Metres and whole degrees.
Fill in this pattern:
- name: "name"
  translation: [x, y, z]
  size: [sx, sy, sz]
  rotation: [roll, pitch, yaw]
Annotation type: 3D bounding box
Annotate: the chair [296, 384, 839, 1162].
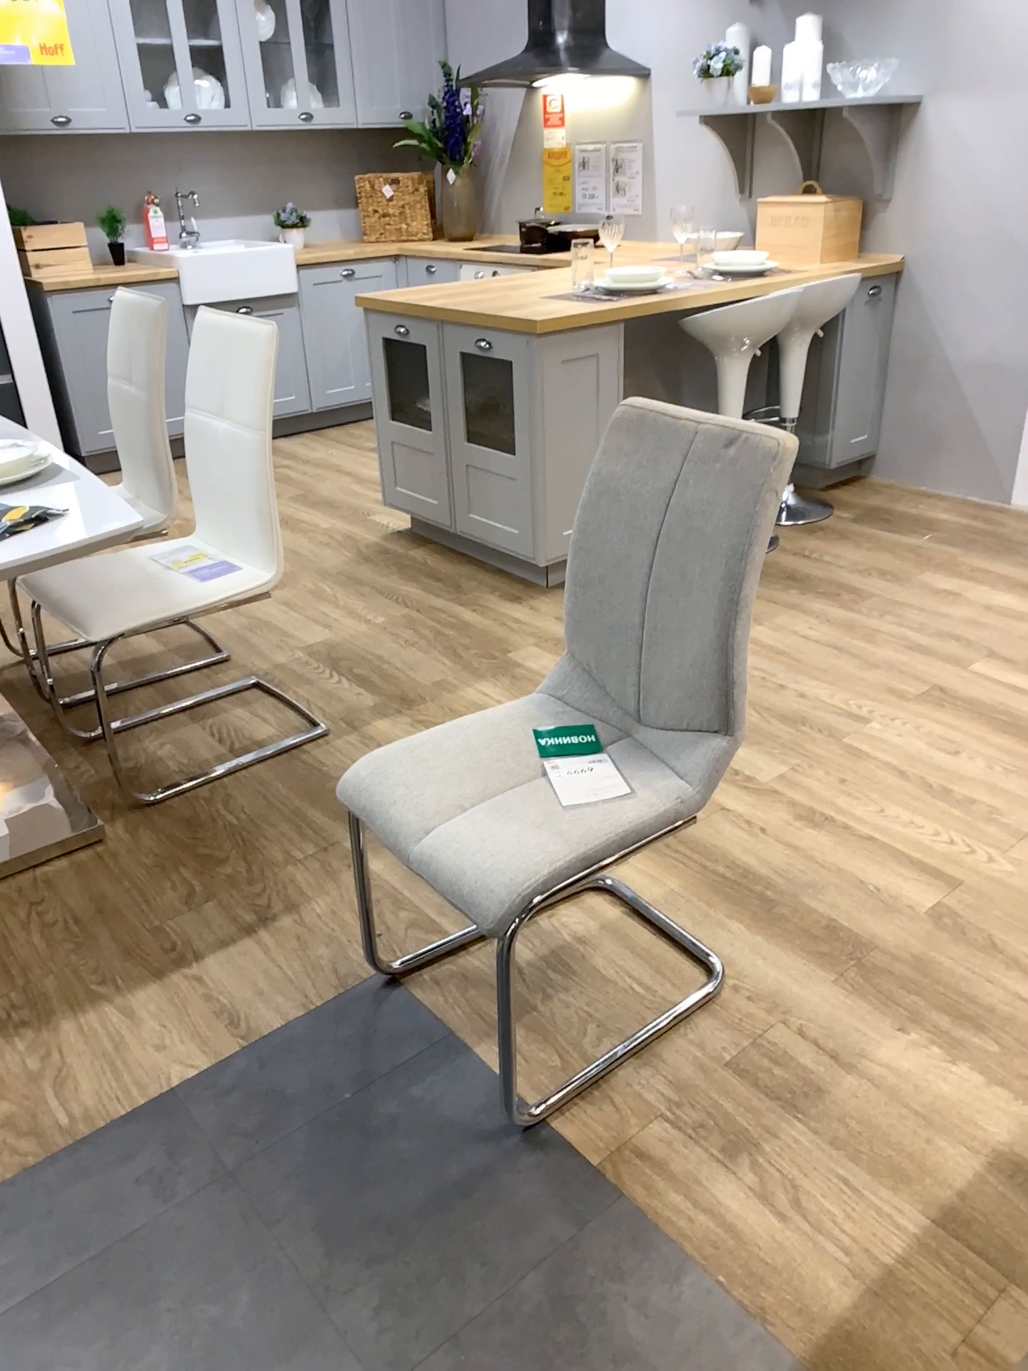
- name: "chair"
  translation: [0.083, 0.098, 1.672]
  size: [0.571, 0.985, 0.492]
  rotation: [-20, 32, -32]
